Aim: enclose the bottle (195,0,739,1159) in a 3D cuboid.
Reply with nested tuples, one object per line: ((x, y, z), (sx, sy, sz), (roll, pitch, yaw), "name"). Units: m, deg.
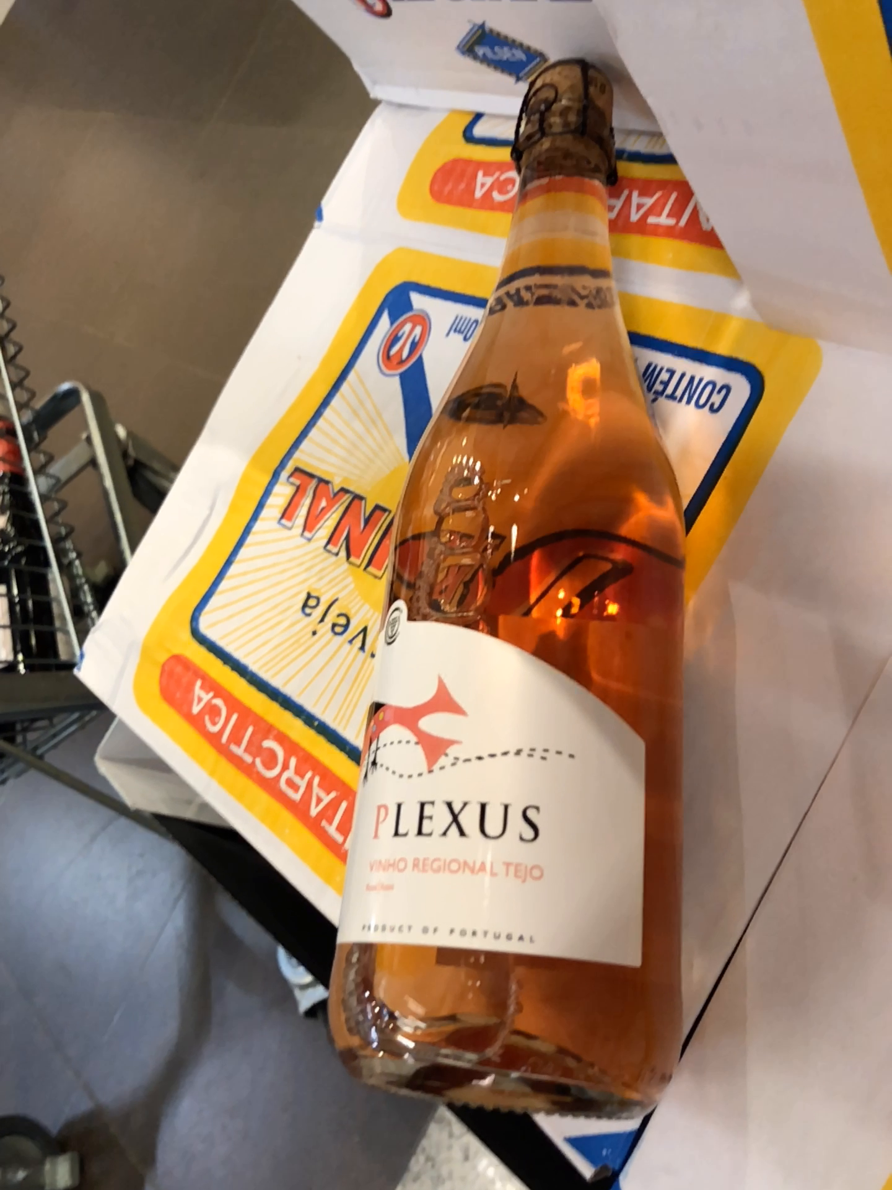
((0.019, -0.027, 0.260), (0.090, 0.070, 0.290), (-9, 64, 33), "bottle")
